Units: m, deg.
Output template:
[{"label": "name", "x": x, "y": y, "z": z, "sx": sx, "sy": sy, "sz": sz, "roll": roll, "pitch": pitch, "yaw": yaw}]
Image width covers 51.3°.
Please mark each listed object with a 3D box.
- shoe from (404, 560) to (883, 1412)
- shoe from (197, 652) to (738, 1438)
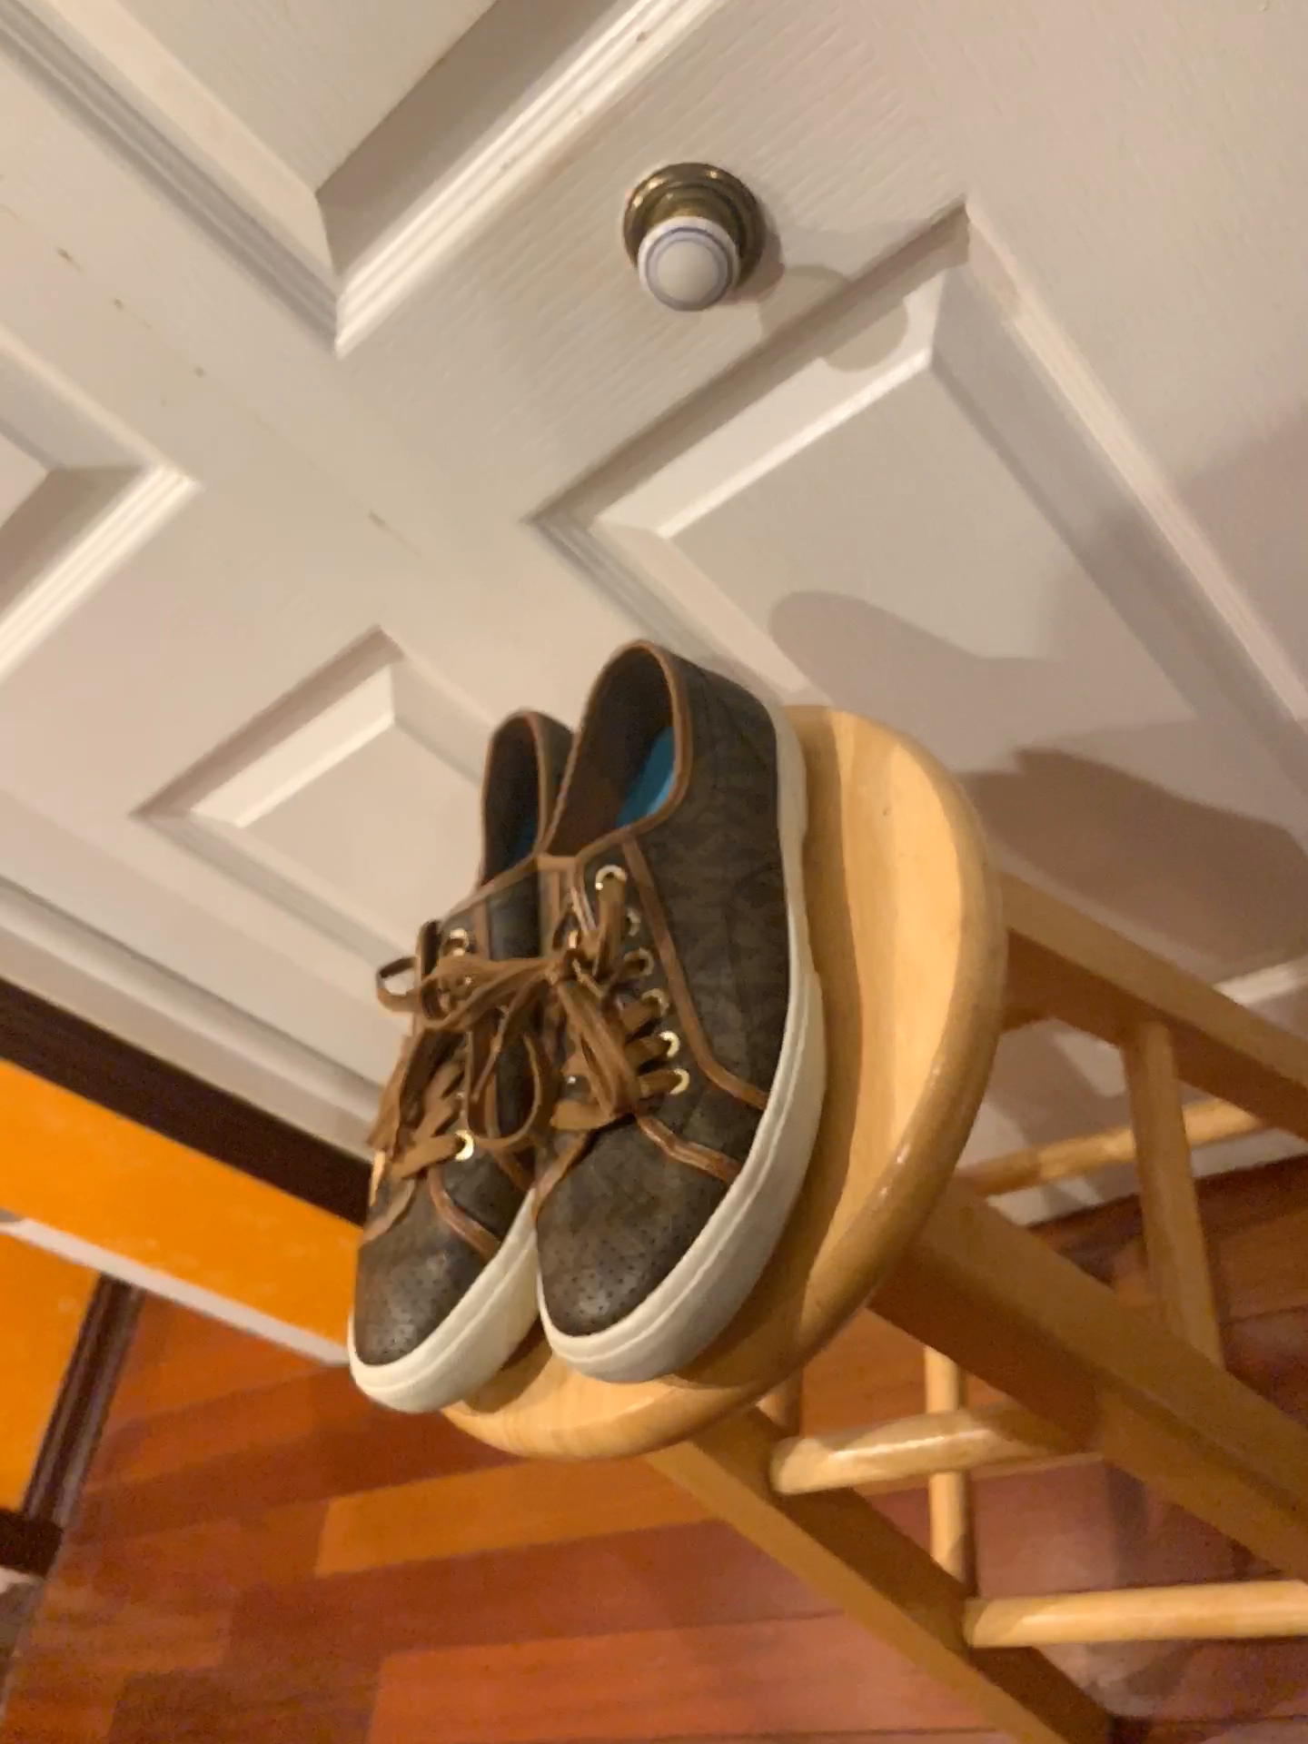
[{"label": "shoe", "x": 0.009, "y": 0.030, "z": 0.456, "sx": 0.100, "sy": 0.079, "sz": 0.260, "roll": -24, "pitch": 43, "yaw": 37}, {"label": "shoe", "x": -0.057, "y": 0.059, "z": 0.505, "sx": 0.101, "sy": 0.089, "sz": 0.260, "roll": -19, "pitch": 46, "yaw": 41}]
